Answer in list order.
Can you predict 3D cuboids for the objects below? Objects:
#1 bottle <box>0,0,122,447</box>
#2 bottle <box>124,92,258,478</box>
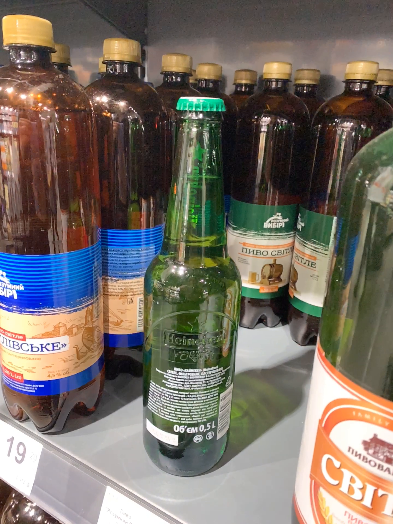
[{"bbox_3d":[-0.112,-0.020,0.293,0.080,0.288,0.074,2,20,-1],"label":"bottle"},{"bbox_3d":[-0.007,0.023,0.273,0.066,0.248,0.062,2,20,-1],"label":"bottle"}]
